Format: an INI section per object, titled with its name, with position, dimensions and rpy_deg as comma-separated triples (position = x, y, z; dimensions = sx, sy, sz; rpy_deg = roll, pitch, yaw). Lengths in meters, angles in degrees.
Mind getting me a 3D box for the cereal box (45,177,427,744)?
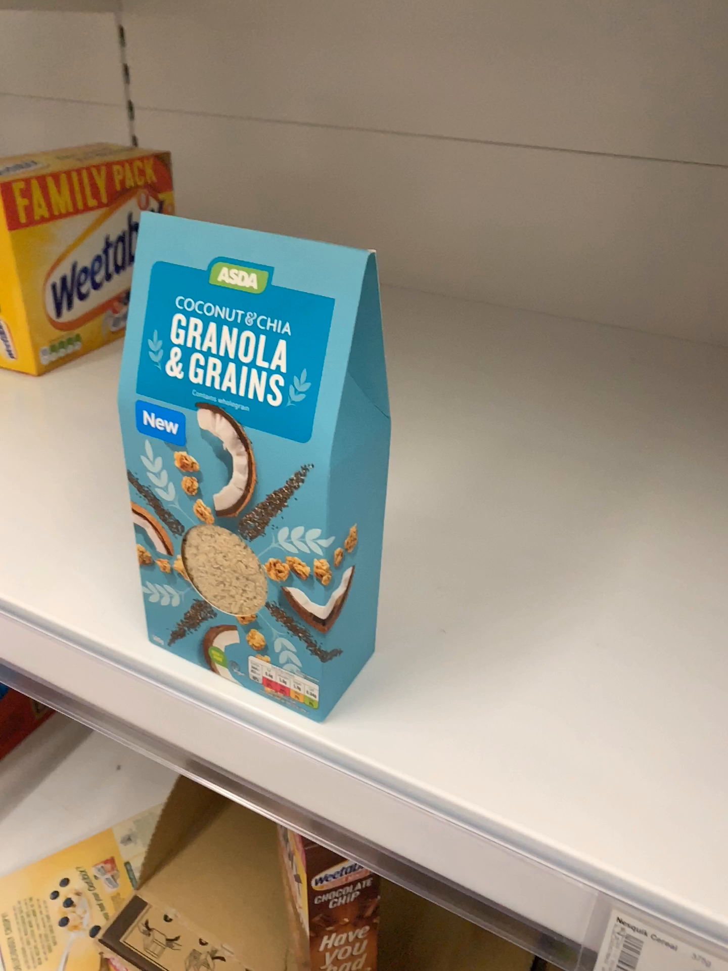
[cereal box]
position = -0.057, -0.010, 0.366
dimensions = 0.140, 0.238, 0.071
rpy_deg = 19, 35, 25
